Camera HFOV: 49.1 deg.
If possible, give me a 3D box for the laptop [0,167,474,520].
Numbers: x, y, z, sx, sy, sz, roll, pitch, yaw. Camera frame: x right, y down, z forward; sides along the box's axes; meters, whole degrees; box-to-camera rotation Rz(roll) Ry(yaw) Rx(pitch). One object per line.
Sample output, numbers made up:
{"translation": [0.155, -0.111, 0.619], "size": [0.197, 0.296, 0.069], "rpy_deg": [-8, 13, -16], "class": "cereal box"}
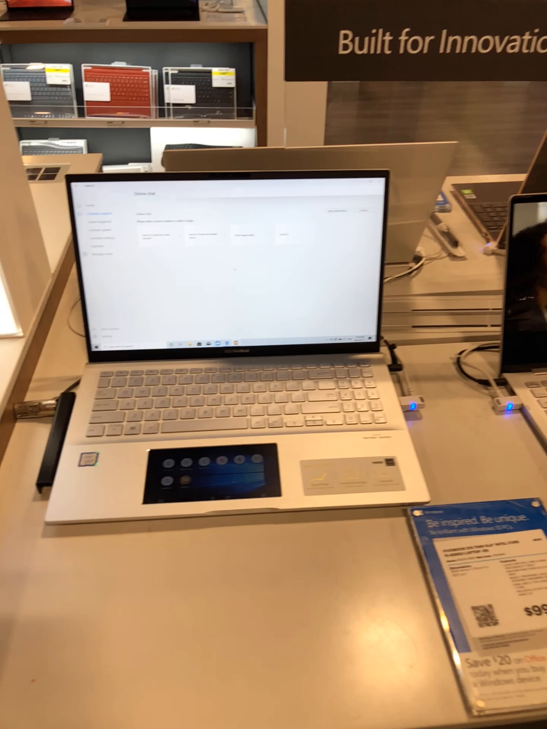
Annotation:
{"translation": [-0.037, -0.039, 0.566], "size": [0.330, 0.189, 0.285], "rpy_deg": [-2, 38, -3], "class": "laptop"}
